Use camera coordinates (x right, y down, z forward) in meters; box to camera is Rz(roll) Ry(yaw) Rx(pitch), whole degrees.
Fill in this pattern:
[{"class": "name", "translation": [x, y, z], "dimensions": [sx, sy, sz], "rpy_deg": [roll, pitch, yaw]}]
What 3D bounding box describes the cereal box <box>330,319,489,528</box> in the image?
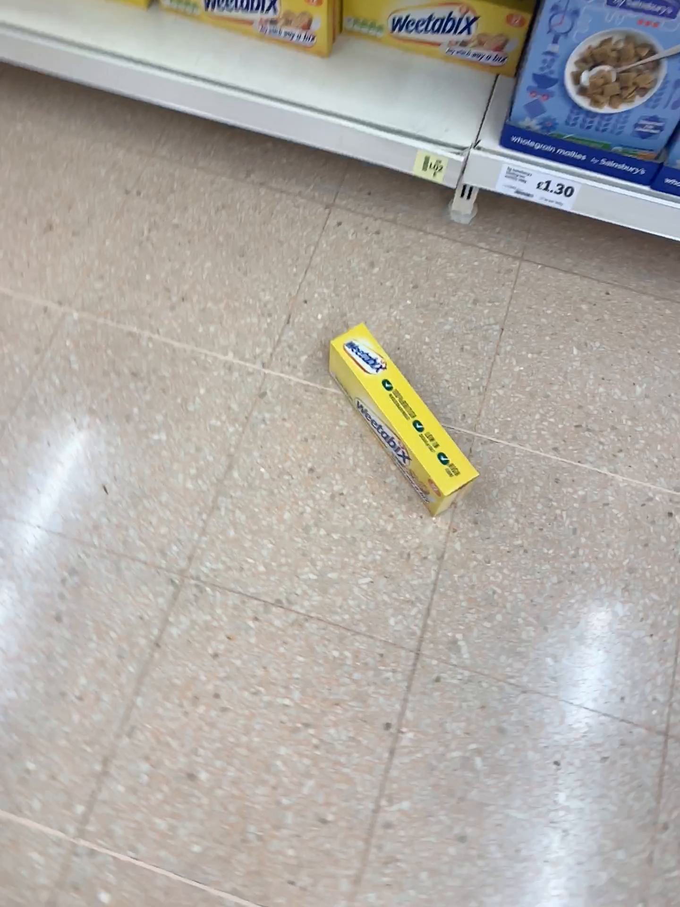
[{"class": "cereal box", "translation": [0.079, -0.038, 0.877], "dimensions": [0.050, 0.100, 0.261], "rpy_deg": [-31, 72, -12]}]
